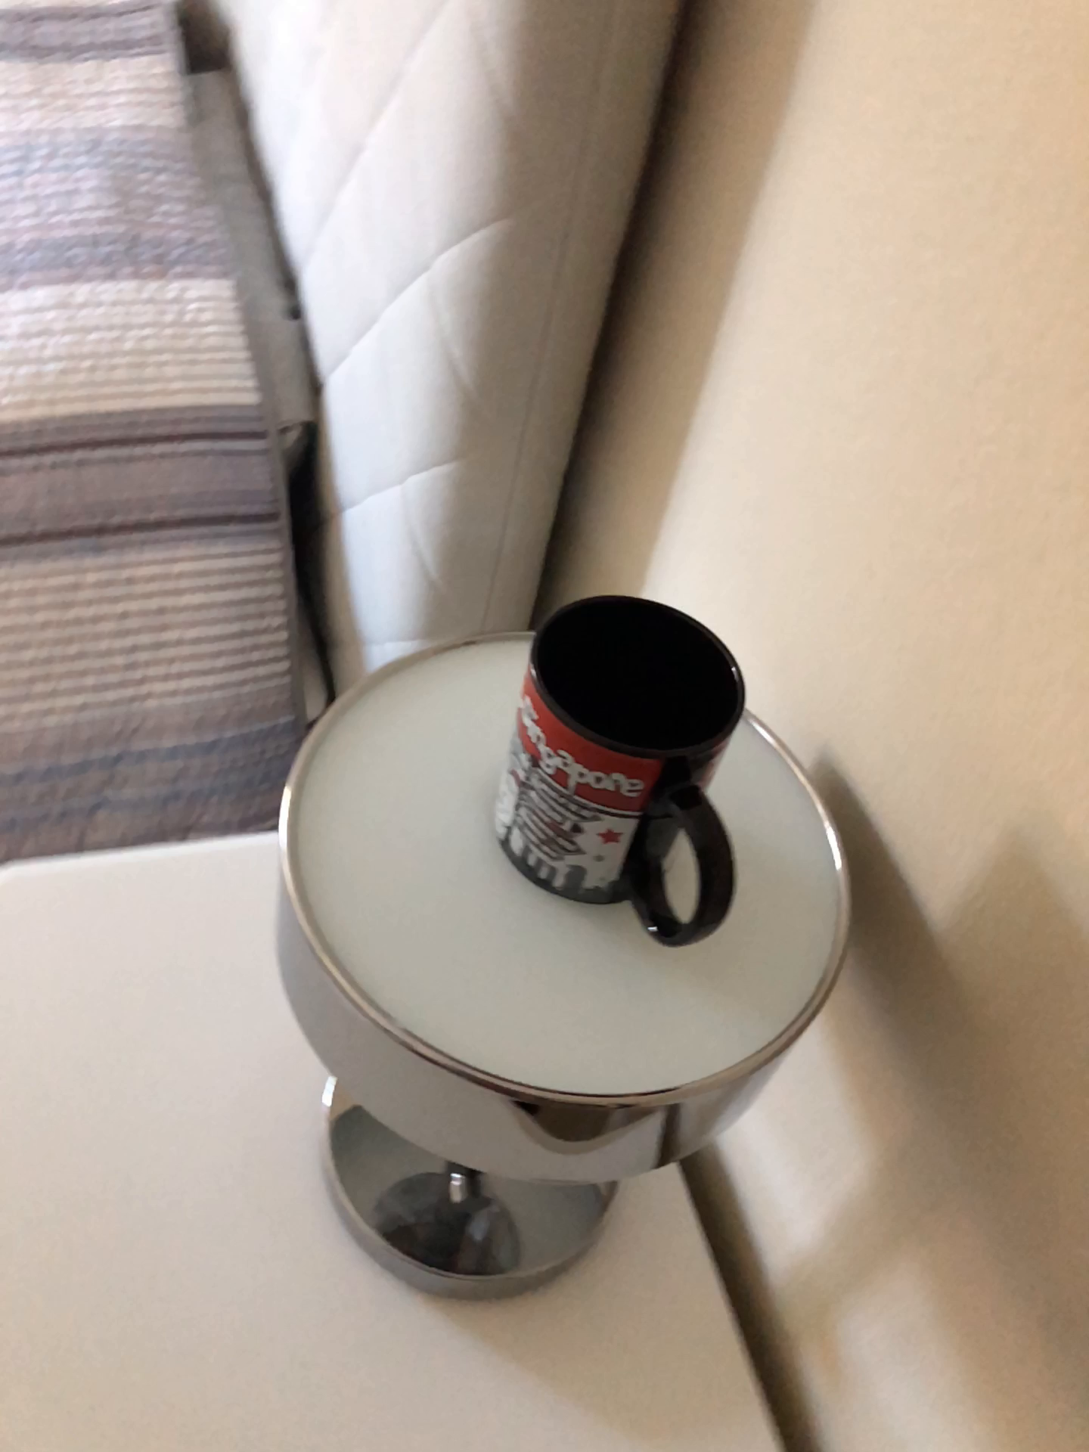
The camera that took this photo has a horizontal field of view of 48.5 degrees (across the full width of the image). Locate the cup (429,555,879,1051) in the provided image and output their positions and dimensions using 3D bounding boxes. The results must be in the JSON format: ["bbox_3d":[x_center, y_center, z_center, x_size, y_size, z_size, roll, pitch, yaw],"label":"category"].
[{"bbox_3d":[0.031,0.025,0.444,0.090,0.100,0.130,-15,53,-26],"label":"cup"}]
